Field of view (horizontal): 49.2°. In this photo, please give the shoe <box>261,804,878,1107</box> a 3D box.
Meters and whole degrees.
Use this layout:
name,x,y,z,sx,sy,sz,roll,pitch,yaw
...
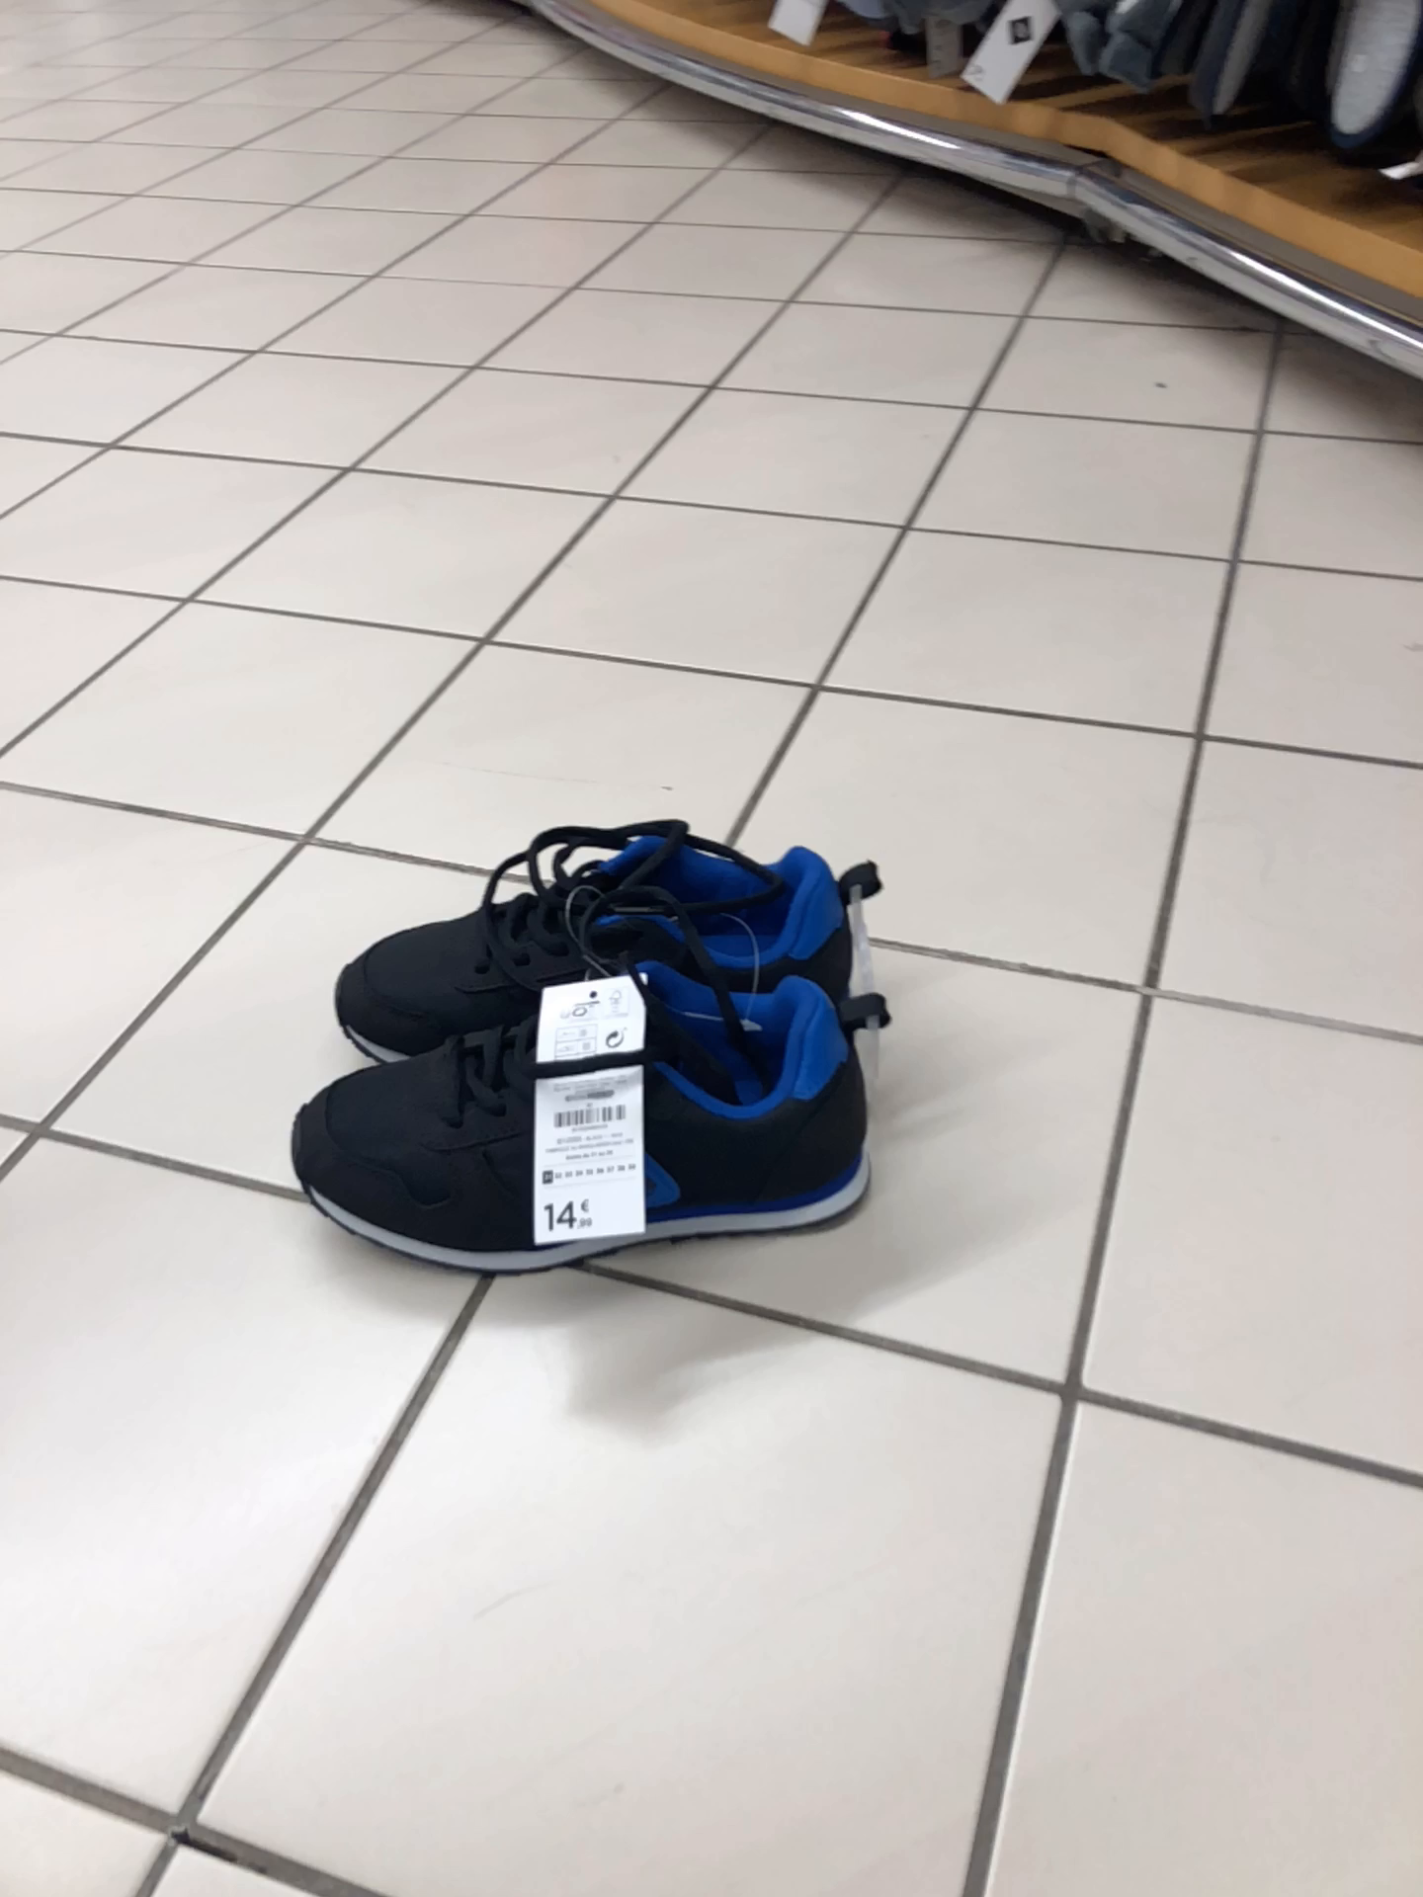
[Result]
name,x,y,z,sx,sy,sz,roll,pitch,yaw
shoe,-0.050,0.001,0.597,0.217,0.061,0.085,-4,39,-1

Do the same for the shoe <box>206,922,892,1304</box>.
name,x,y,z,sx,sy,sz,roll,pitch,yaw
shoe,-0.051,0.055,0.535,0.212,0.071,0.085,-5,40,-2
